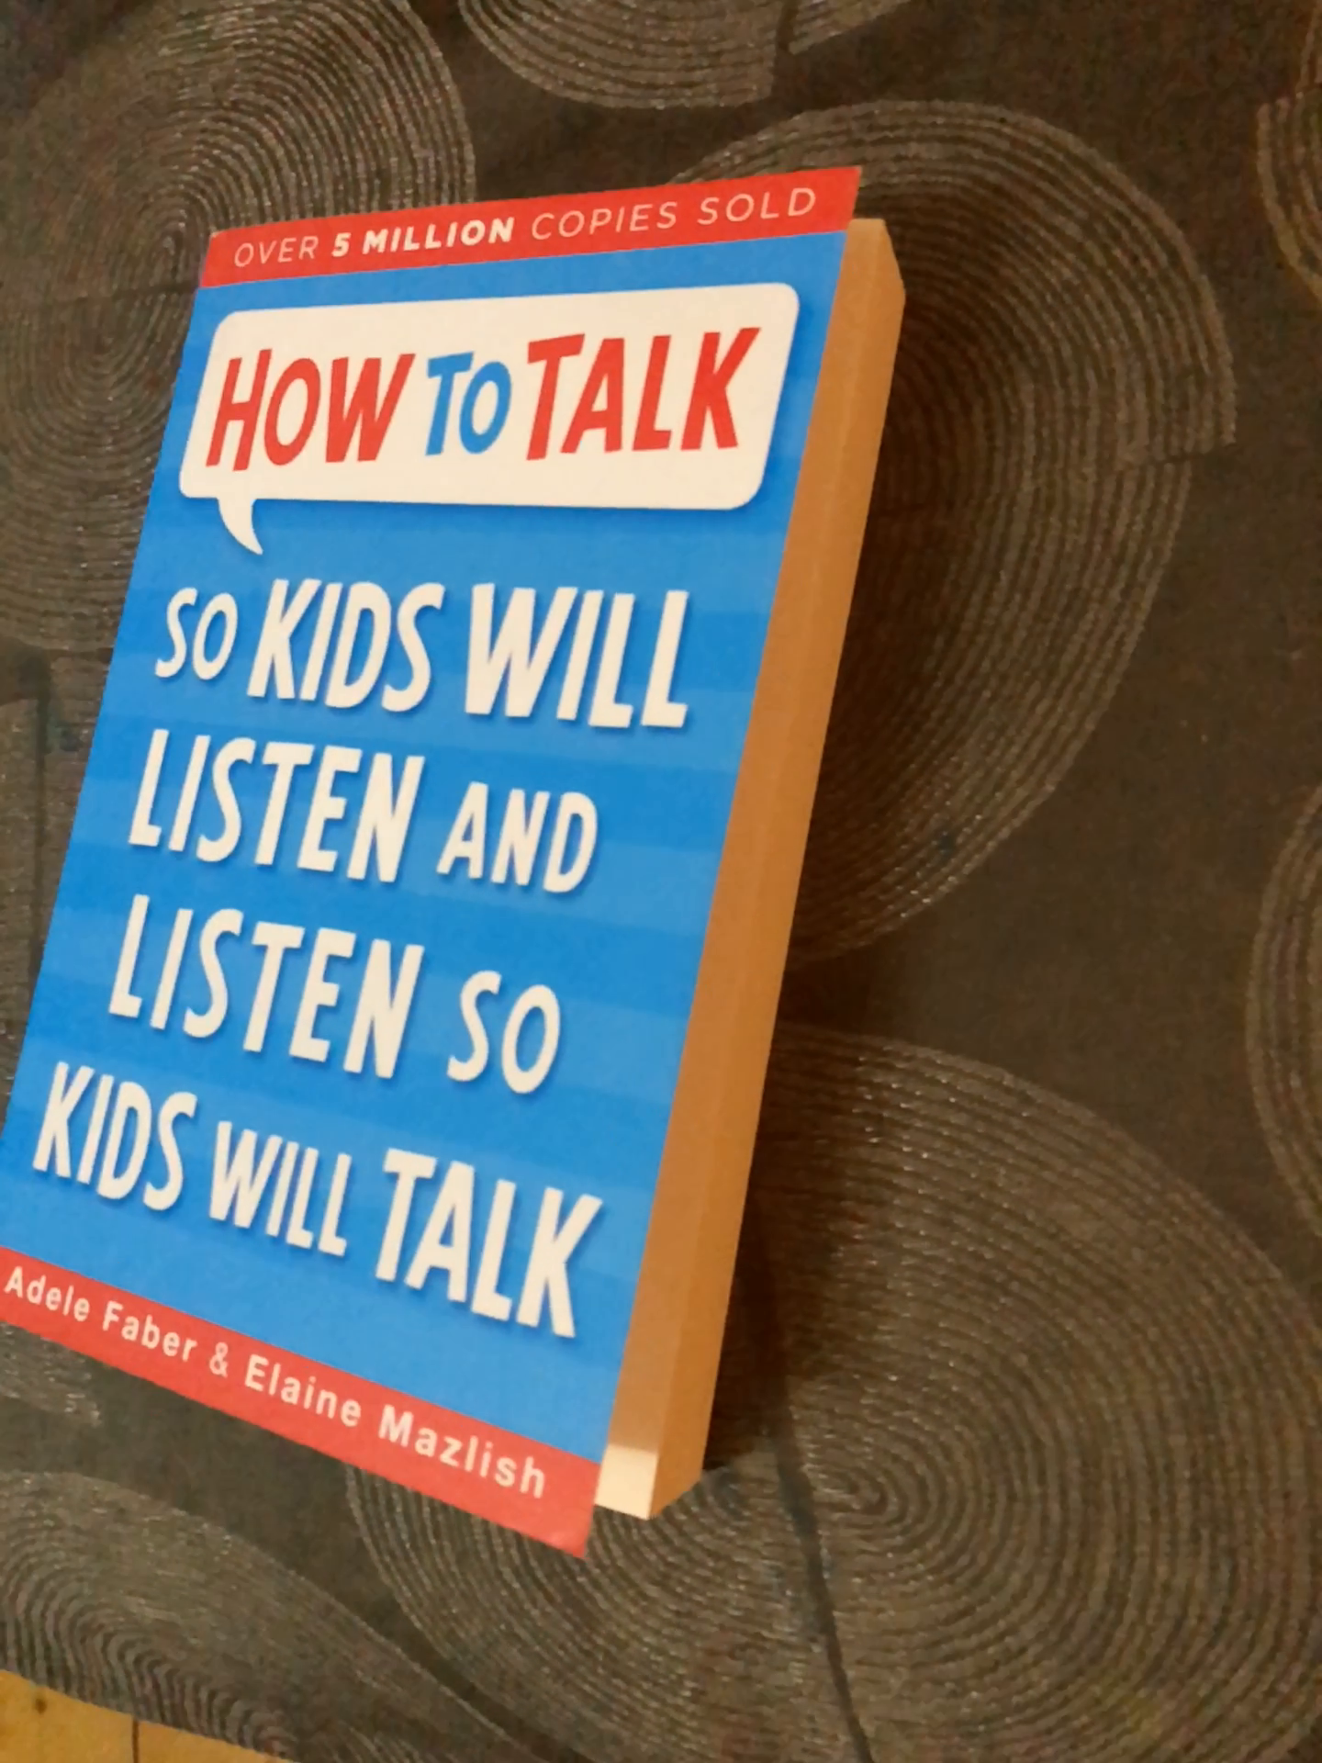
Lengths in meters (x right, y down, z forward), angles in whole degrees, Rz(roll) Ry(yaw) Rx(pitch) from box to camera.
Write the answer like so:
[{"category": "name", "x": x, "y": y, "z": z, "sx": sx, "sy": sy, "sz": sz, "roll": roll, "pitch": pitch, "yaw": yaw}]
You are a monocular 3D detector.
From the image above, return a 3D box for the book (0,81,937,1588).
[{"category": "book", "x": -0.041, "y": -0.016, "z": 0.245, "sx": 0.140, "sy": 0.030, "sz": 0.210, "roll": 8, "pitch": 88, "yaw": 27}]
